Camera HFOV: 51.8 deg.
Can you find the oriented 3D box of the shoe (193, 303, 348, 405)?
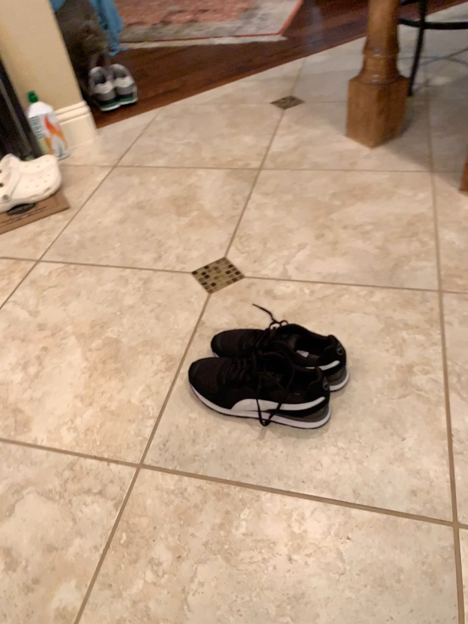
[{"bbox_3d":[0.072,0.075,0.932,0.269,0.095,0.109,11,48,20],"label":"shoe"}]

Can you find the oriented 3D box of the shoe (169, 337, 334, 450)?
[{"bbox_3d":[0.034,0.141,0.871,0.269,0.095,0.109,11,46,20],"label":"shoe"}]
